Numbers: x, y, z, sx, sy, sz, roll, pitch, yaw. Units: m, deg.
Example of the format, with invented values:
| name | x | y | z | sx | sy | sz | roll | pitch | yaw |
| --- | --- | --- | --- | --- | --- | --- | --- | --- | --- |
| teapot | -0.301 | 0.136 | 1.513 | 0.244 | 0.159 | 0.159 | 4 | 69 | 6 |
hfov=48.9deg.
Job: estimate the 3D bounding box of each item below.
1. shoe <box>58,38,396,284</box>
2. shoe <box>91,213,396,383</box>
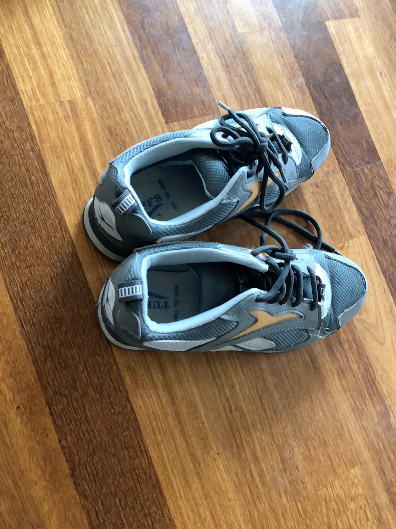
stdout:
| name | x | y | z | sx | sy | sz | roll | pitch | yaw |
| --- | --- | --- | --- | --- | --- | --- | --- | --- | --- |
| shoe | 0.030 | -0.099 | 0.403 | 0.284 | 0.099 | 0.112 | -25 | 85 | -22 |
| shoe | 0.061 | 0.025 | 0.377 | 0.283 | 0.088 | 0.110 | -3 | 77 | -20 |
